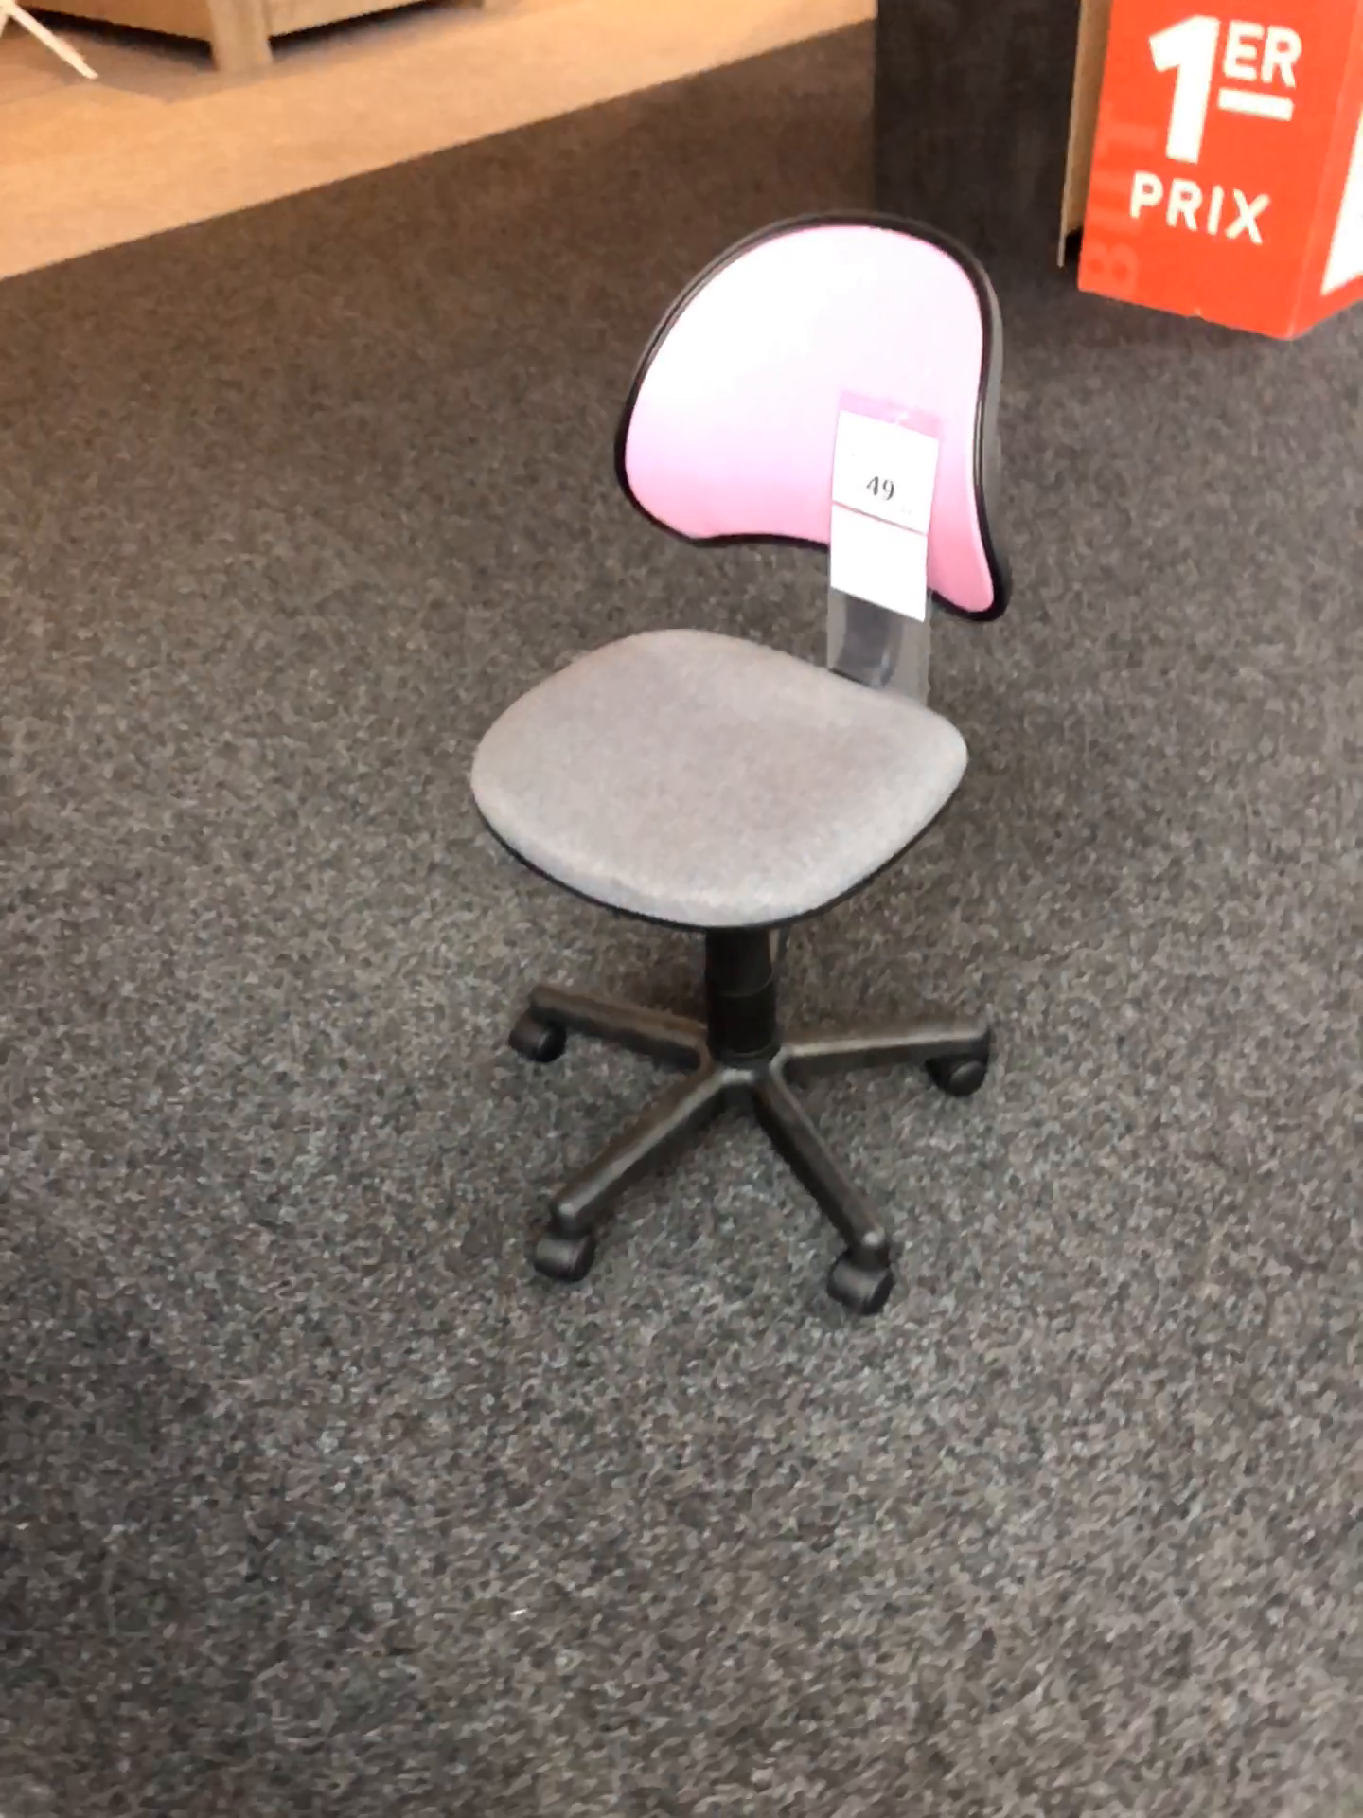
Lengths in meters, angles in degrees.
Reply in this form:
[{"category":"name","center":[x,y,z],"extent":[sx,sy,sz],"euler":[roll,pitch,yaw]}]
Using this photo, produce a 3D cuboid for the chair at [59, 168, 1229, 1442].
[{"category":"chair","center":[0.026,-0.121,1.290],"extent":[0.600,0.776,0.604],"euler":[17,44,24]}]
